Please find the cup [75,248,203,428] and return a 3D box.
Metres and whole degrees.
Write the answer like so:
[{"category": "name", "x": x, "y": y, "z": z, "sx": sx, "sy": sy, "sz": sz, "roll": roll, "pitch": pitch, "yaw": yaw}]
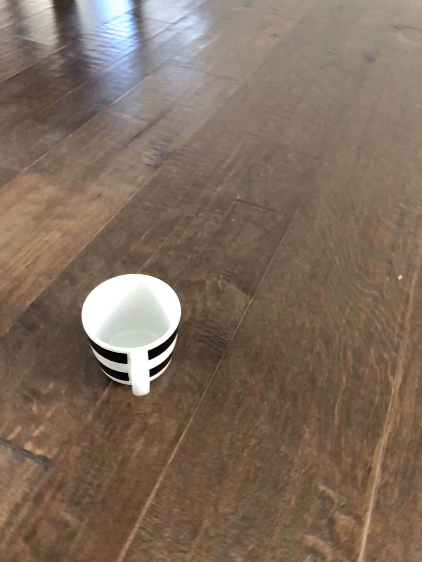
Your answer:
[{"category": "cup", "x": -0.065, "y": 0.046, "z": 0.405, "sx": 0.090, "sy": 0.079, "sz": 0.121, "roll": -7, "pitch": 47, "yaw": -11}]
